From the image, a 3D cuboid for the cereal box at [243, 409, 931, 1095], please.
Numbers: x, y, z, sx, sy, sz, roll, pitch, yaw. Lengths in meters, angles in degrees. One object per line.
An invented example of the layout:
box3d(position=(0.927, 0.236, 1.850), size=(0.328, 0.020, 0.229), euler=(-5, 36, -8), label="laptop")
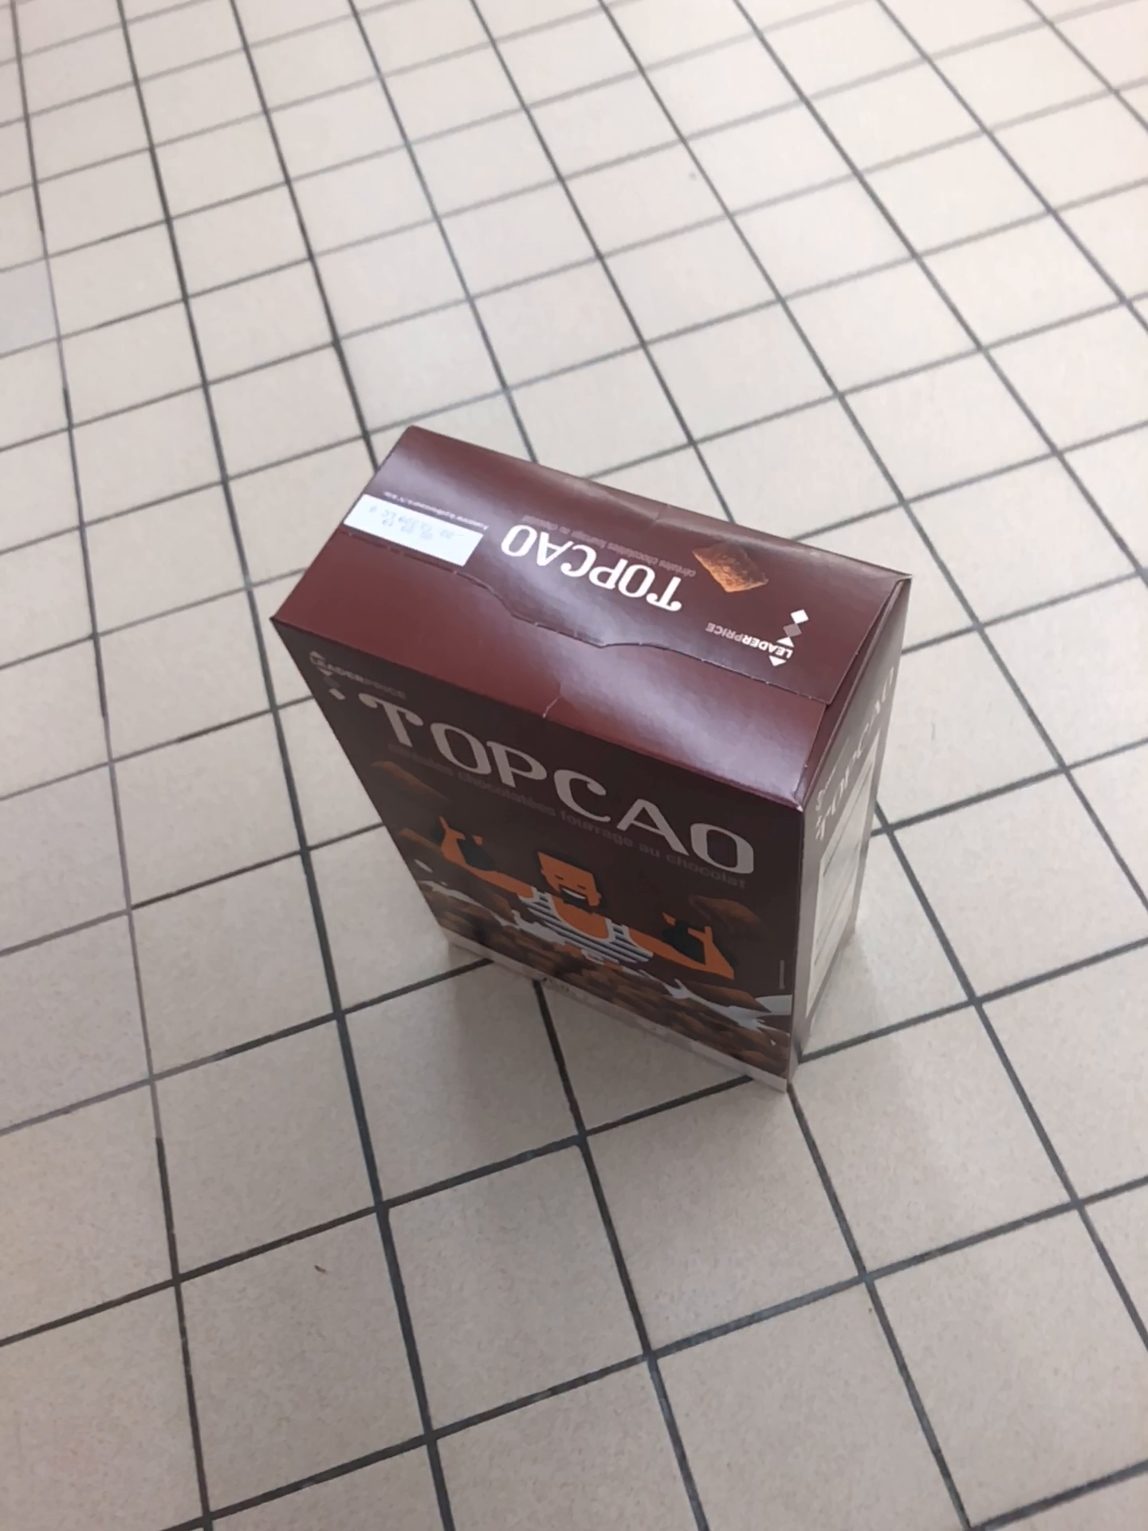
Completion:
box3d(position=(0.018, 0.015, 0.535), size=(0.200, 0.289, 0.100), euler=(21, 66, 18), label="cereal box")
